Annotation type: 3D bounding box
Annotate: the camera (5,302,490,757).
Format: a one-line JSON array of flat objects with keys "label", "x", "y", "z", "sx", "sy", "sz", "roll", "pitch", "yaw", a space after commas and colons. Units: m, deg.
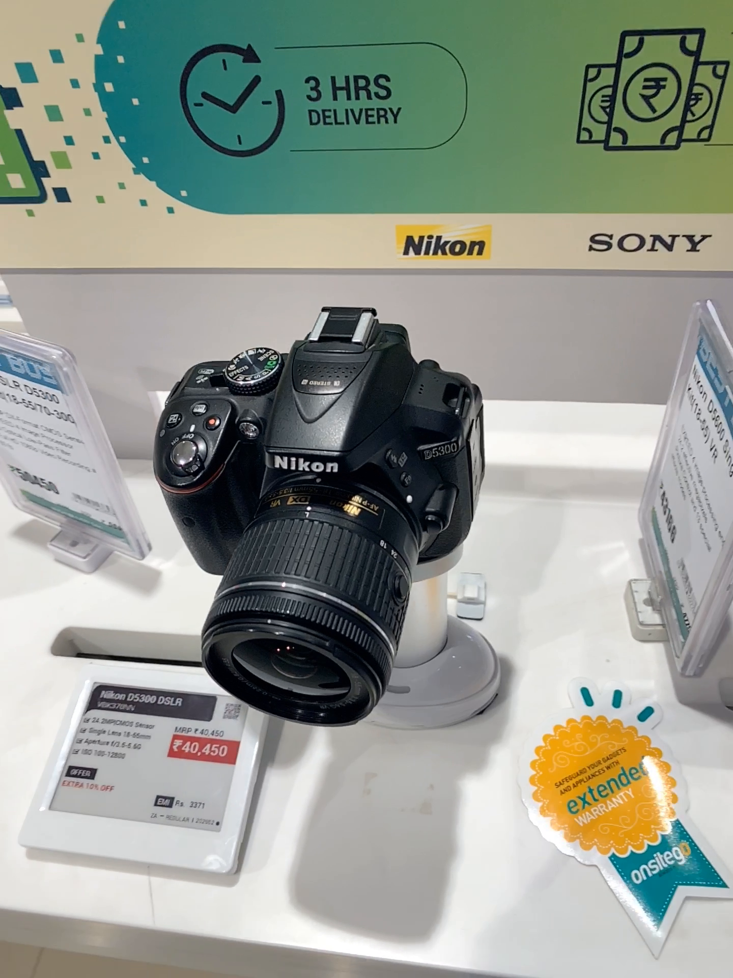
[{"label": "camera", "x": -0.021, "y": 0.007, "z": 0.253, "sx": 0.118, "sy": 0.082, "sz": 0.123, "roll": 3, "pitch": 45, "yaw": 9}]
